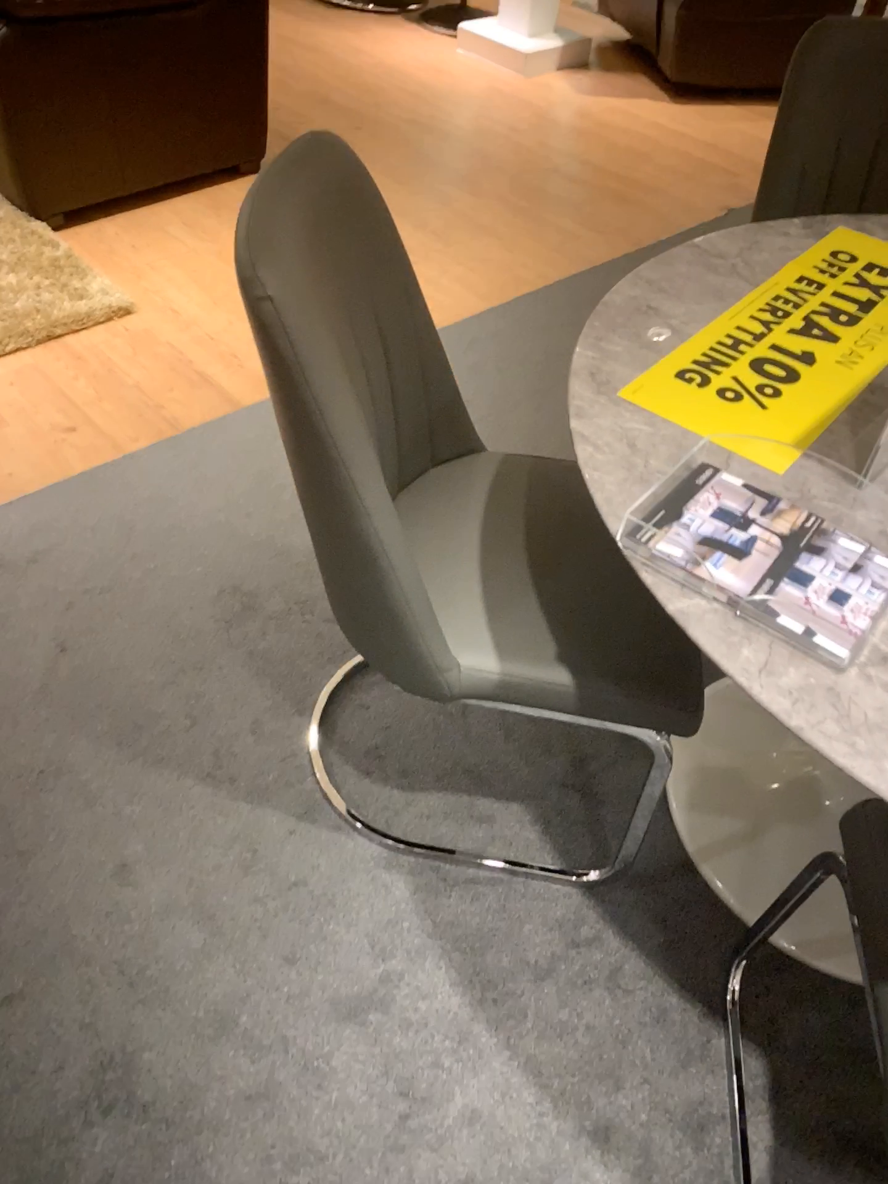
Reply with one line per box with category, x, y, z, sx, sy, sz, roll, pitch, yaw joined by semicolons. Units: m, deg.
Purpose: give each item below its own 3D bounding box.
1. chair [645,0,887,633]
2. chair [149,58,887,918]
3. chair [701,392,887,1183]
chair;0.765;-0.450;1.618;0.520;0.883;0.584;3;46;-3
chair;0.091;-0.087;1.183;0.628;0.883;0.555;9;46;3
chair;0.608;0.409;0.755;0.520;0.883;0.583;10;46;4
